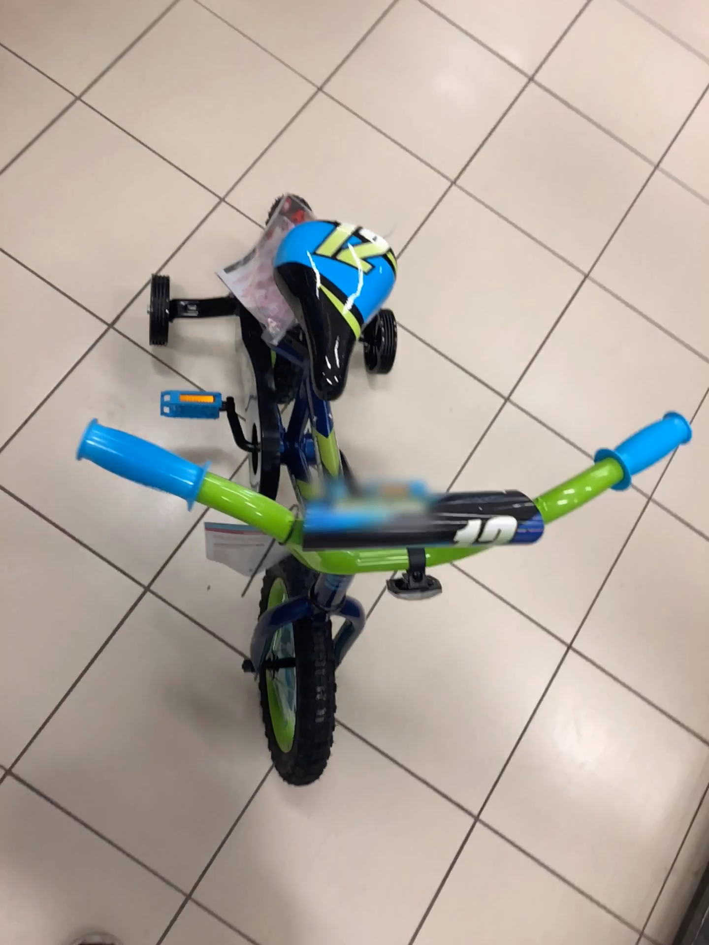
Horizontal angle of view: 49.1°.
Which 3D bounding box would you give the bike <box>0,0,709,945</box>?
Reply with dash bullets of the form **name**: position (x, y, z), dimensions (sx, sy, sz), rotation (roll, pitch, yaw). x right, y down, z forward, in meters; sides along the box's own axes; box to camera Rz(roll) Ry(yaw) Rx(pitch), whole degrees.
- **bike**: position (-0.048, -0.056, 0.891), dimensions (0.548, 0.678, 0.794), rotation (0, 76, -11)
